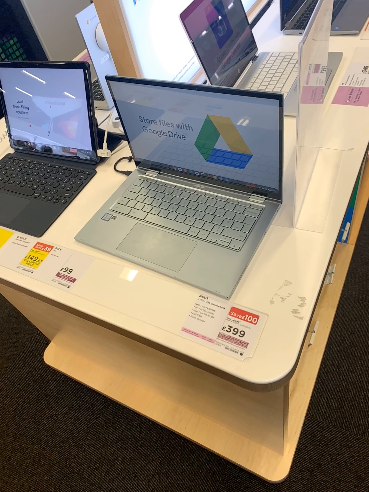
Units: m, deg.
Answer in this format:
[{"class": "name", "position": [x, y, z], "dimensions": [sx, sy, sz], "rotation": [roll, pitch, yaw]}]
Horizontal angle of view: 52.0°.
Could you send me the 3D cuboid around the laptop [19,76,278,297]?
[{"class": "laptop", "position": [-0.042, -0.109, 0.601], "dimensions": [0.318, 0.195, 0.204], "rotation": [19, 58, 28]}]
